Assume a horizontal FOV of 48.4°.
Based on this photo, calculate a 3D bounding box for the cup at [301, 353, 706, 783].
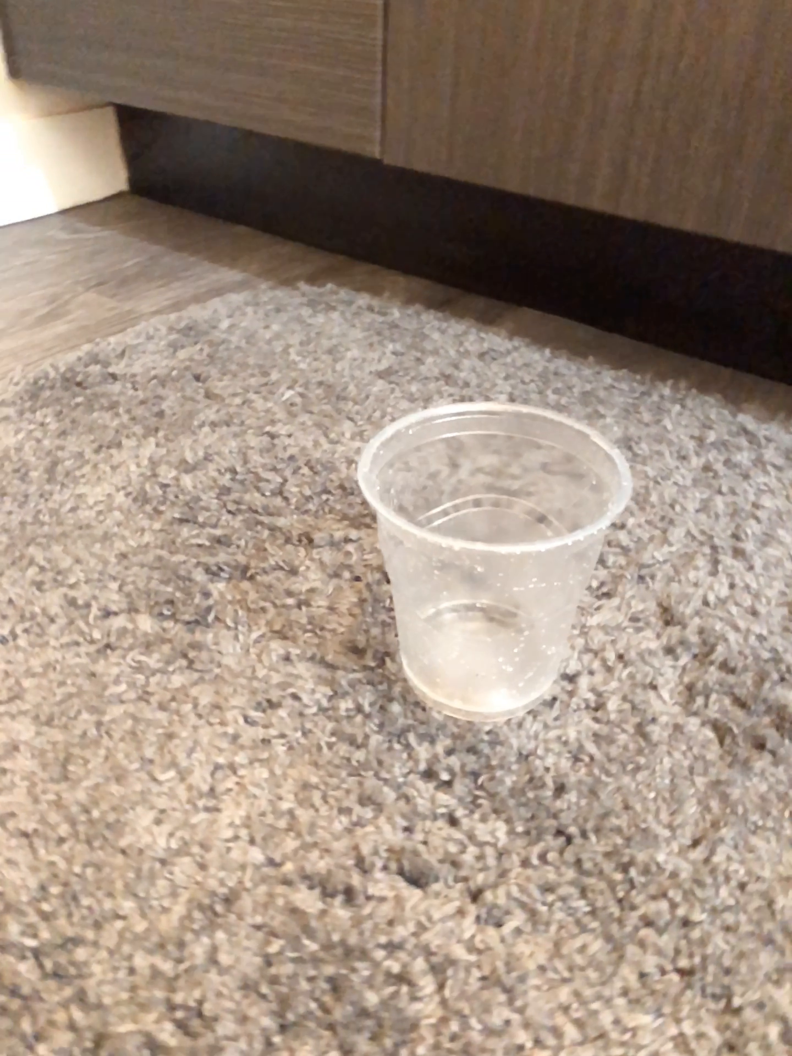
[{"bbox_3d":[0.030,0.007,0.302,0.090,0.090,0.090,2,35,-1],"label":"cup"}]
